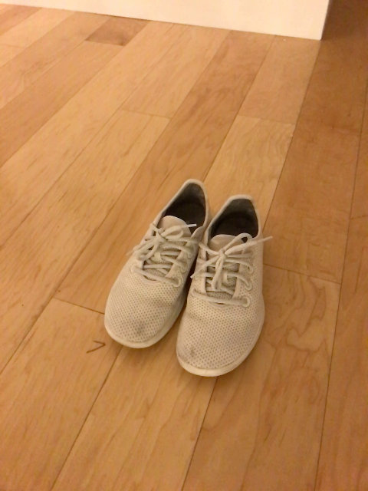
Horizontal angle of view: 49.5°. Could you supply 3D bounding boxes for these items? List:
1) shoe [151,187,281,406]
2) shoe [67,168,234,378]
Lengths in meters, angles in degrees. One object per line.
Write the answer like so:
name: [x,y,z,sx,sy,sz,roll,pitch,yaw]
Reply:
shoe: [0.055,0.050,0.542,0.110,0.079,0.282,11,50,11]
shoe: [-0.029,0.020,0.567,0.110,0.079,0.292,16,51,15]
